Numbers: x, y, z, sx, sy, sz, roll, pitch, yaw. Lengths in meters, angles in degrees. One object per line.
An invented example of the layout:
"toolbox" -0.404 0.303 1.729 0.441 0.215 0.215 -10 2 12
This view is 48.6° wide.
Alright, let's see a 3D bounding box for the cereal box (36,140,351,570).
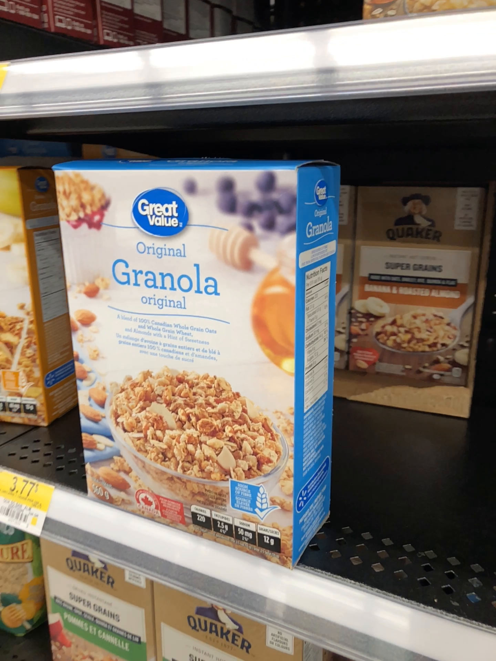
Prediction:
"cereal box" -0.031 0.004 0.332 0.160 0.219 0.070 8 18 27
